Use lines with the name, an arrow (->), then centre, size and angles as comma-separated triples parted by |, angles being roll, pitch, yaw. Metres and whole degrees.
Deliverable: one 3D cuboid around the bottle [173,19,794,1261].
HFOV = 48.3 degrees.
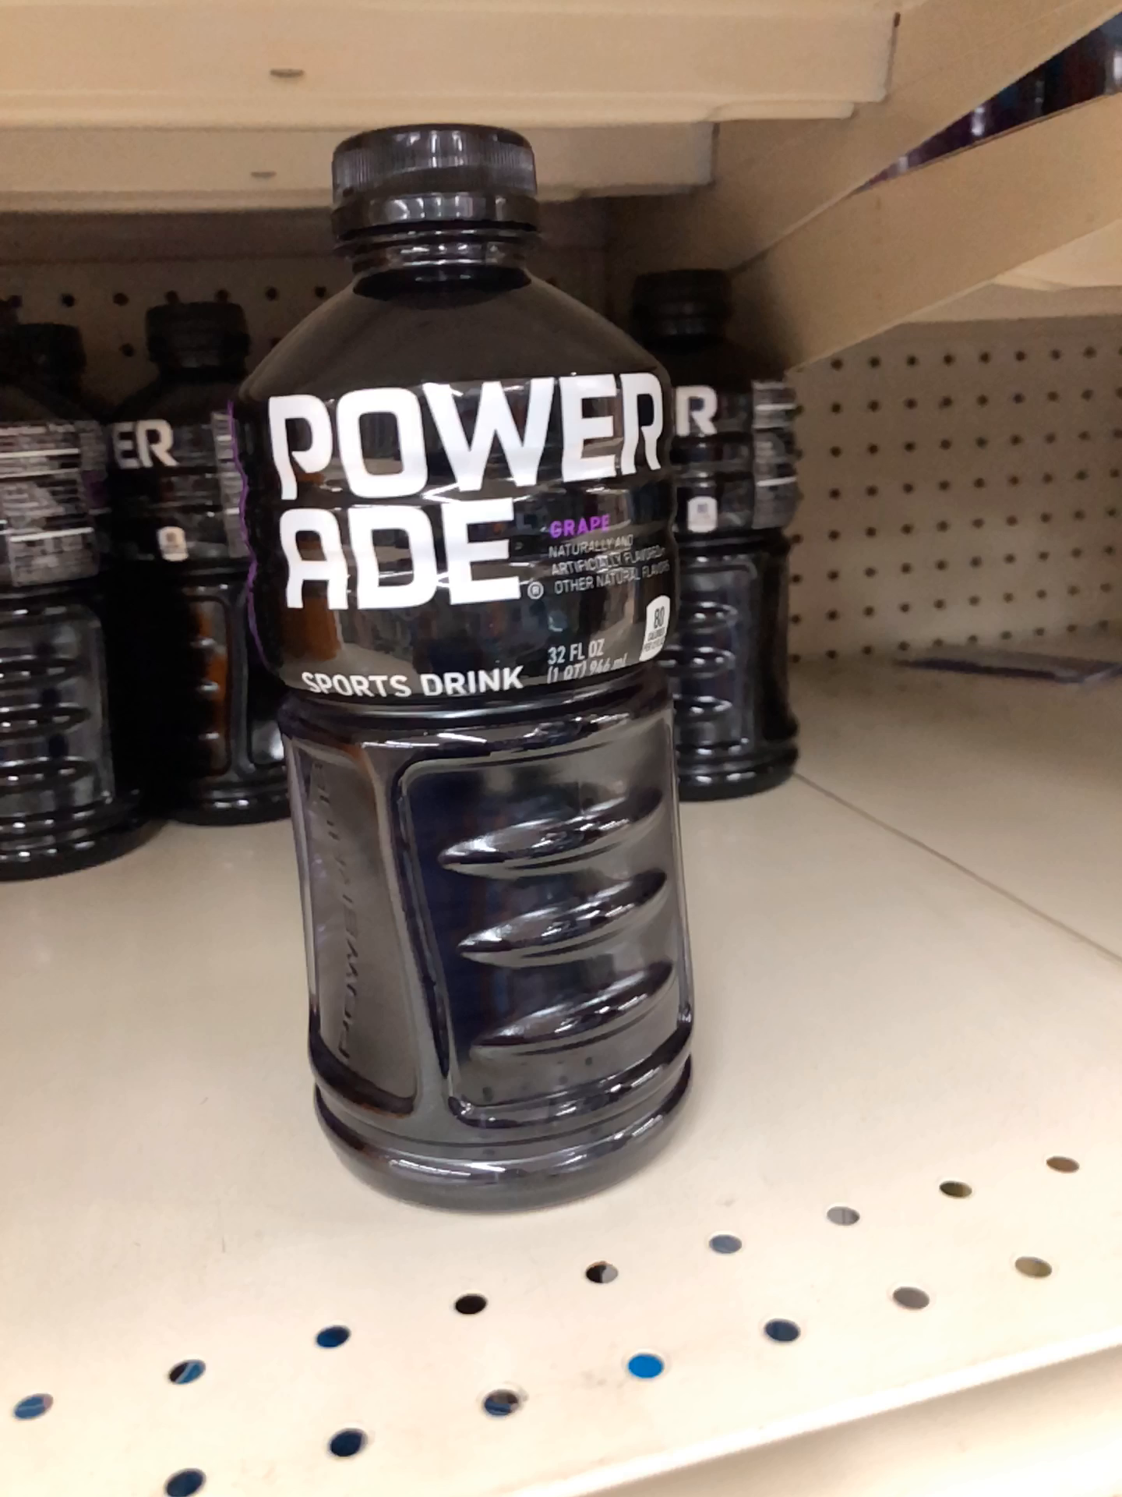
bottle -> -0.017, -0.021, 0.263 | 0.098, 0.210, 0.090 | -2, 16, 1
